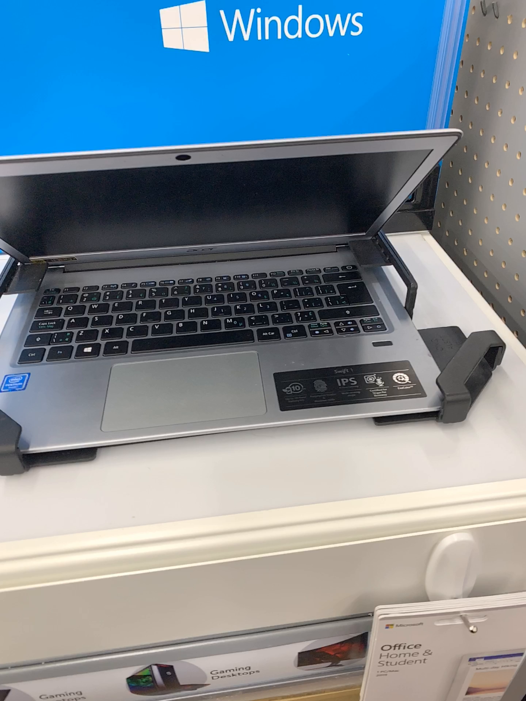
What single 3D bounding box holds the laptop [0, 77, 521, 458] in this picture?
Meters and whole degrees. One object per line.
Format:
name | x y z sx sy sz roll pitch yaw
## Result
laptop | -0.046 -0.074 0.359 0.305 0.141 0.214 -5 38 -4
